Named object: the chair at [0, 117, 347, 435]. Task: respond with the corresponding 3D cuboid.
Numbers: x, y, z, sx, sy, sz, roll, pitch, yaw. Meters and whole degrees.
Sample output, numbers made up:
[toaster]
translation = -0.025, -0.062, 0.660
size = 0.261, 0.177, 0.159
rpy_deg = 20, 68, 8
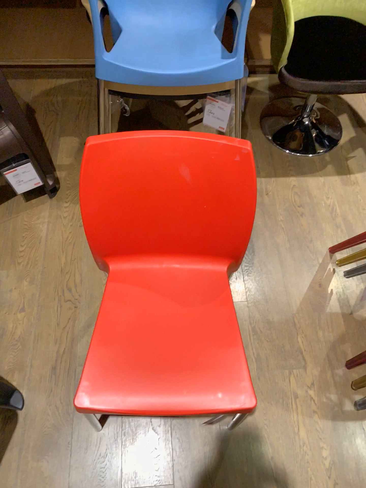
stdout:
[chair]
translation = -0.026, 0.176, 1.050
size = 0.530, 0.779, 0.620
rpy_deg = 2, 61, -2
